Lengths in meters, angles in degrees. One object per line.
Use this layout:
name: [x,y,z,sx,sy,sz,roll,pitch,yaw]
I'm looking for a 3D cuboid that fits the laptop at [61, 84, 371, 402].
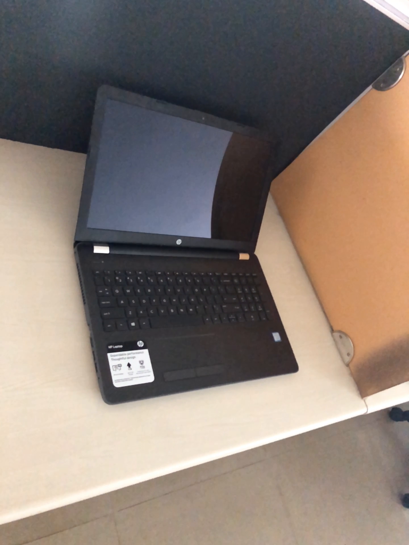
laptop: [0.011,-0.046,0.736,0.379,0.173,0.408,1,60,-38]
